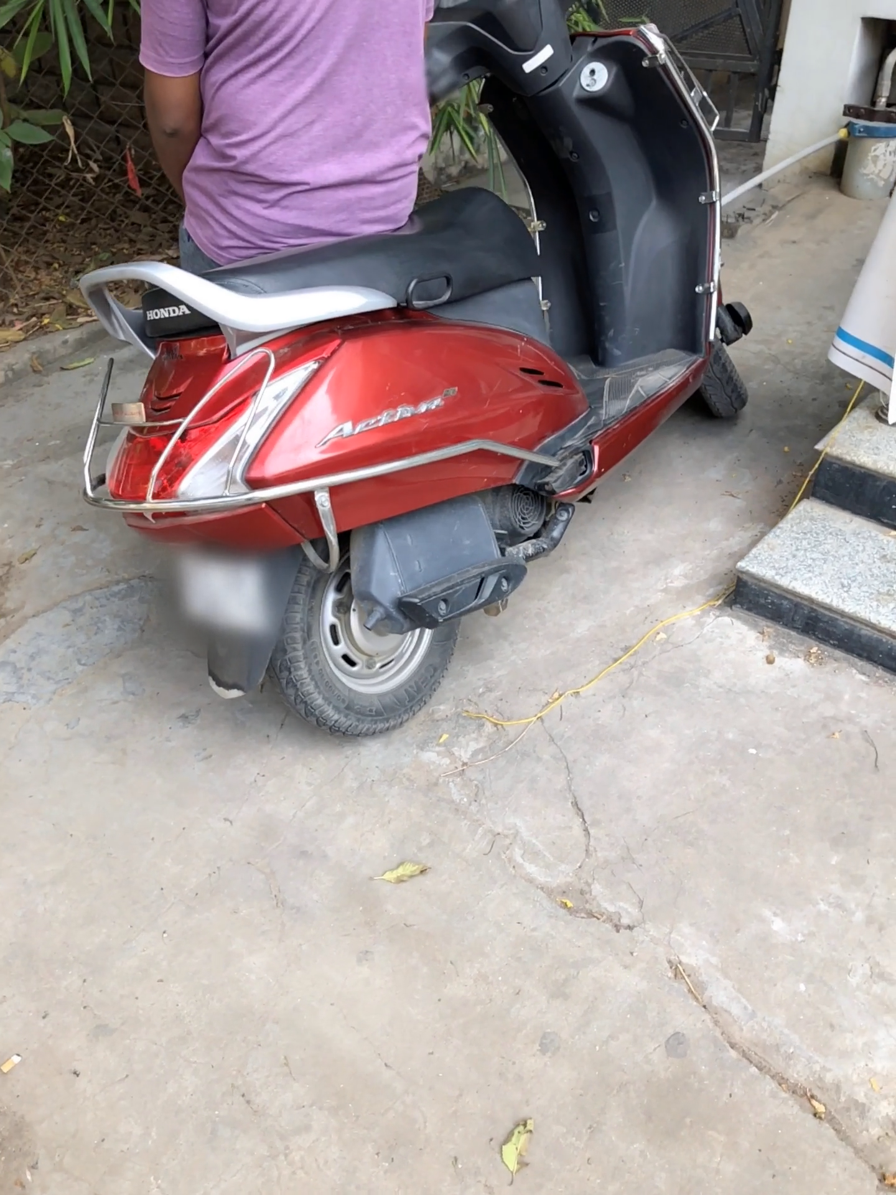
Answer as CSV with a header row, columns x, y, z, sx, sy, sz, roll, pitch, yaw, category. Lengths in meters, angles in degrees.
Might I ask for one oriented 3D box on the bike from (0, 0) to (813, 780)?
x,y,z,sx,sy,sz,roll,pitch,yaw,category
0.037,-0.651,1.767,0.572,1.056,1.486,20,44,26,bike
